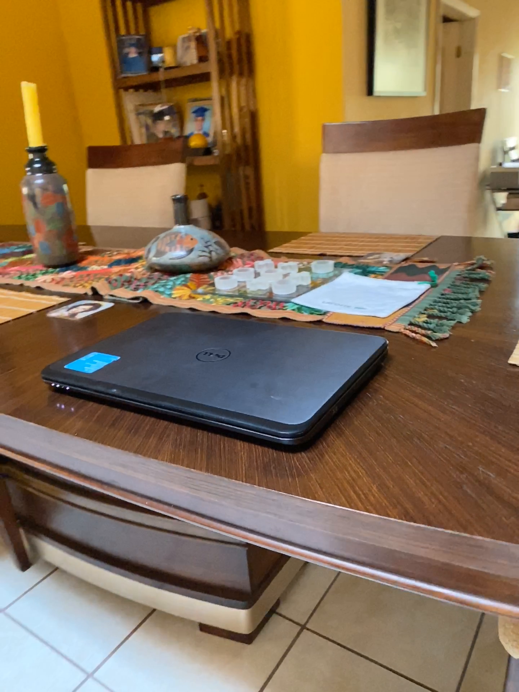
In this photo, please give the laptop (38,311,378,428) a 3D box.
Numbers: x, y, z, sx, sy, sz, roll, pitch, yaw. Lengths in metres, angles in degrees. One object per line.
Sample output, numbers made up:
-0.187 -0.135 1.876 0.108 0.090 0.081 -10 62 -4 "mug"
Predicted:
-0.062 0.010 0.675 0.352 0.001 0.249 9 25 30 "laptop"
